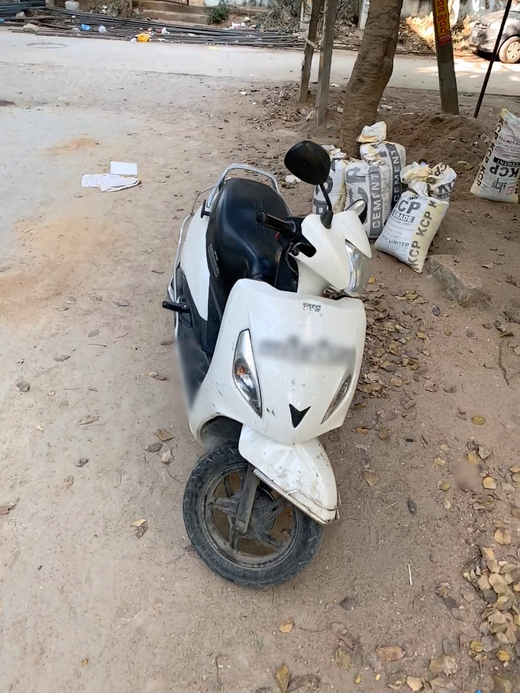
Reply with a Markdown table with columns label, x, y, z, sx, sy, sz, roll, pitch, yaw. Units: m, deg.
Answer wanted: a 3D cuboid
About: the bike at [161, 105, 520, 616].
| label | x | y | z | sx | sy | sz | roll | pitch | yaw |
| --- | --- | --- | --- | --- | --- | --- | --- | --- | --- |
| bike | 0.104 | -0.094 | 1.925 | 0.686 | 1.066 | 1.467 | -6 | 39 | -16 |
